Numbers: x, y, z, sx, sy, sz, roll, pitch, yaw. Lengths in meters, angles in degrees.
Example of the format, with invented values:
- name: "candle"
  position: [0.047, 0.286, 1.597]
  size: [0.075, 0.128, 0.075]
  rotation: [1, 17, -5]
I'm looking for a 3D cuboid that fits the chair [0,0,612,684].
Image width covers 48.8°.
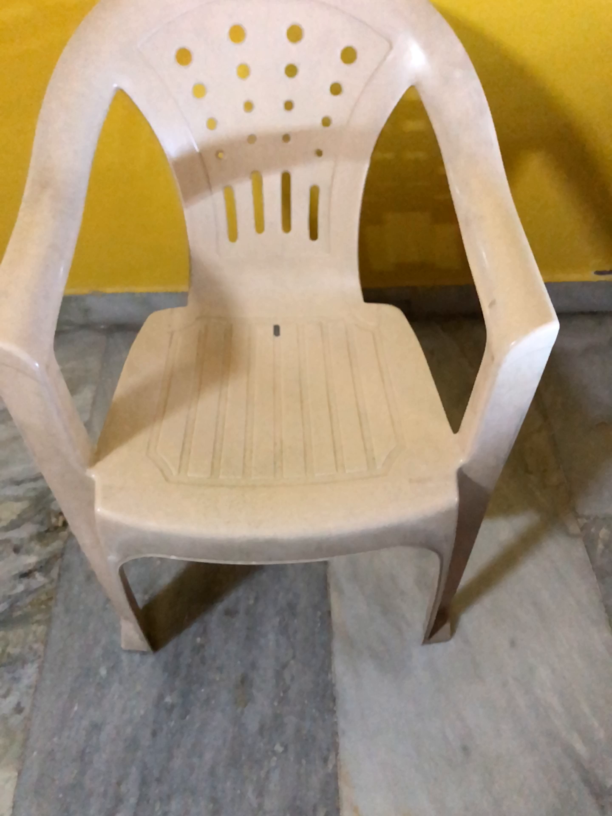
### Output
- name: "chair"
  position: [-0.027, -0.066, 0.860]
  size: [0.530, 0.785, 0.563]
  rotation: [-2, 52, -2]
